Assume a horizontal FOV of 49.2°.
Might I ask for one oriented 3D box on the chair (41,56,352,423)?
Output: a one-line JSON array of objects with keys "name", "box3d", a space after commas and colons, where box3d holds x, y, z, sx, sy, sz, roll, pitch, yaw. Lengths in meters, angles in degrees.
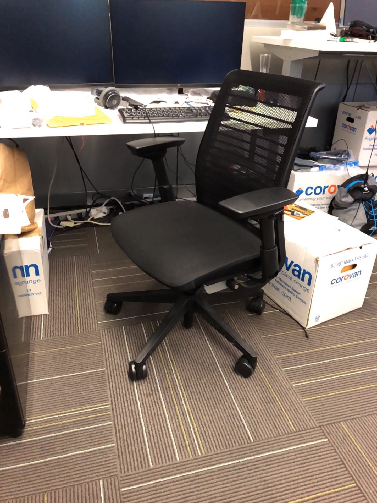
[{"name": "chair", "box3d": [-0.019, -0.117, 1.403, 0.611, 0.935, 0.672, -18, 34, -31]}]
